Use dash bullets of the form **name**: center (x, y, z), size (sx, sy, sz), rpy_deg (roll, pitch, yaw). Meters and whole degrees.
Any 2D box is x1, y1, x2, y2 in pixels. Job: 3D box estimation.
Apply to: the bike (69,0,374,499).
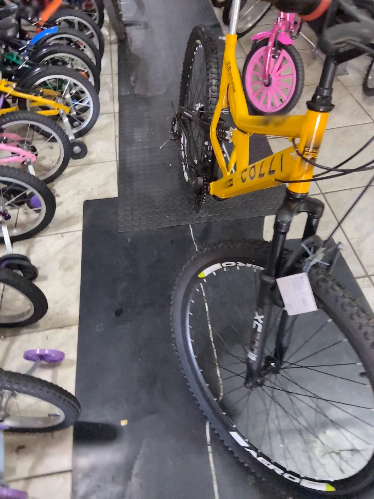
- **bike**: center (0.124, -0.301, 0.949), size (0.475, 0.987, 1.527), rpy_deg (-14, 48, -6)
